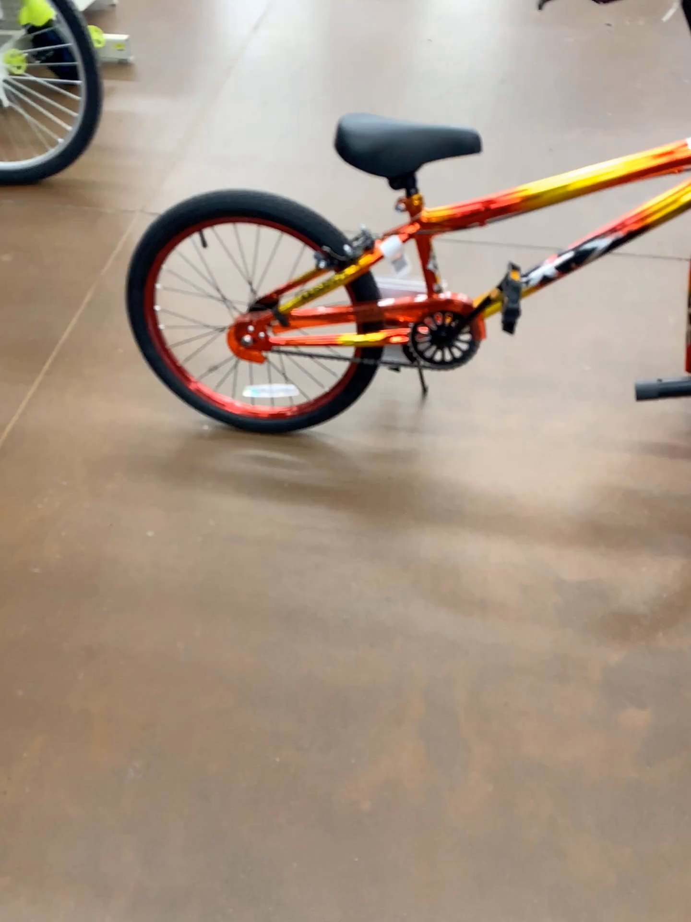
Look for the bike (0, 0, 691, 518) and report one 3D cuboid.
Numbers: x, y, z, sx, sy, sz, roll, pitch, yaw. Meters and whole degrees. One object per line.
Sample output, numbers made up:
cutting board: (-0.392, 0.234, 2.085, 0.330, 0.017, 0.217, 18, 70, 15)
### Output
bike: (0.174, -0.511, 1.152, 1.122, 0.926, 0.706, -2, 50, 0)
